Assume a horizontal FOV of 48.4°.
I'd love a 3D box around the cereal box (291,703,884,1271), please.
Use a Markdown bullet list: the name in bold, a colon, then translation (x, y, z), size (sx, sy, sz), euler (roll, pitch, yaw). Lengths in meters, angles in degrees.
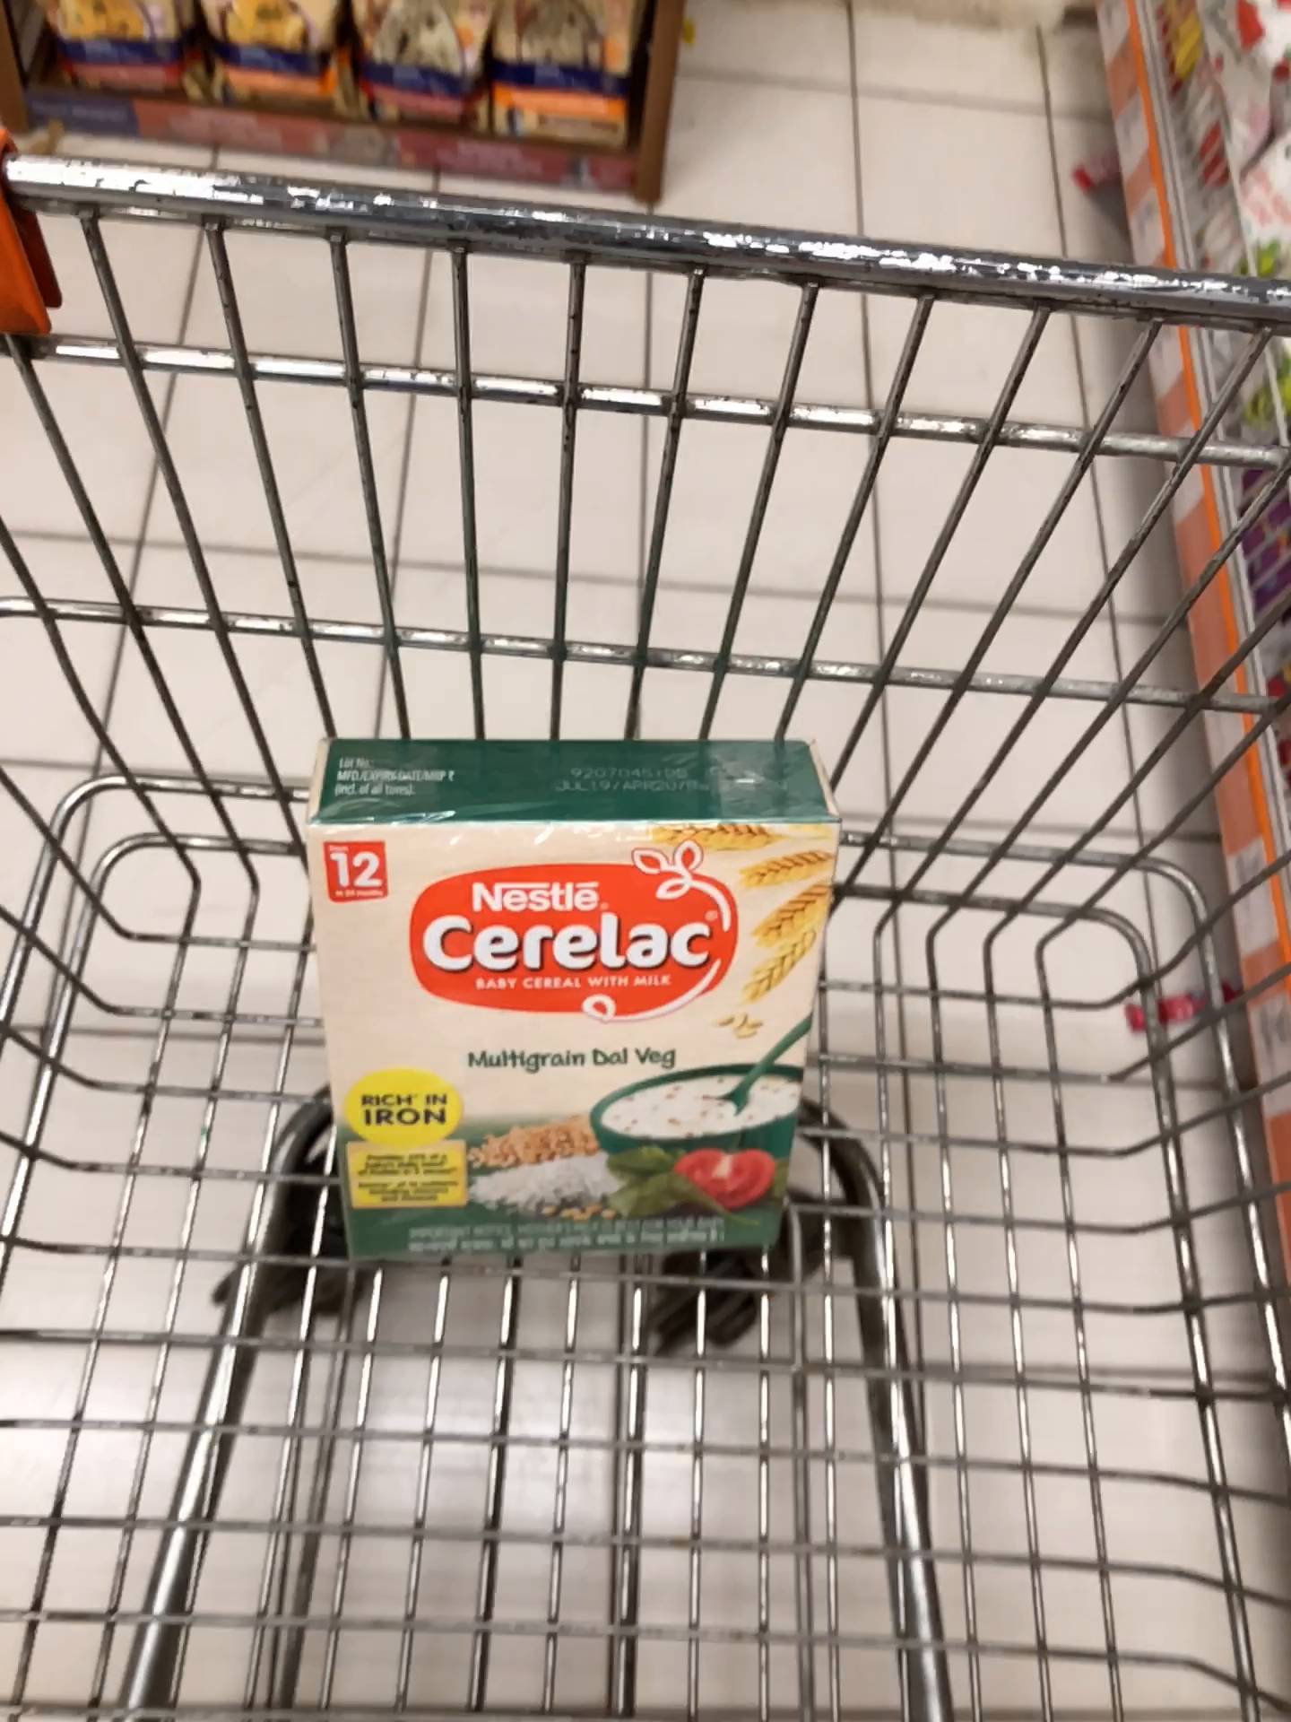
- **cereal box**: translation (-0.022, 0.045, 0.461), size (0.160, 0.189, 0.050), euler (0, 35, -7)
